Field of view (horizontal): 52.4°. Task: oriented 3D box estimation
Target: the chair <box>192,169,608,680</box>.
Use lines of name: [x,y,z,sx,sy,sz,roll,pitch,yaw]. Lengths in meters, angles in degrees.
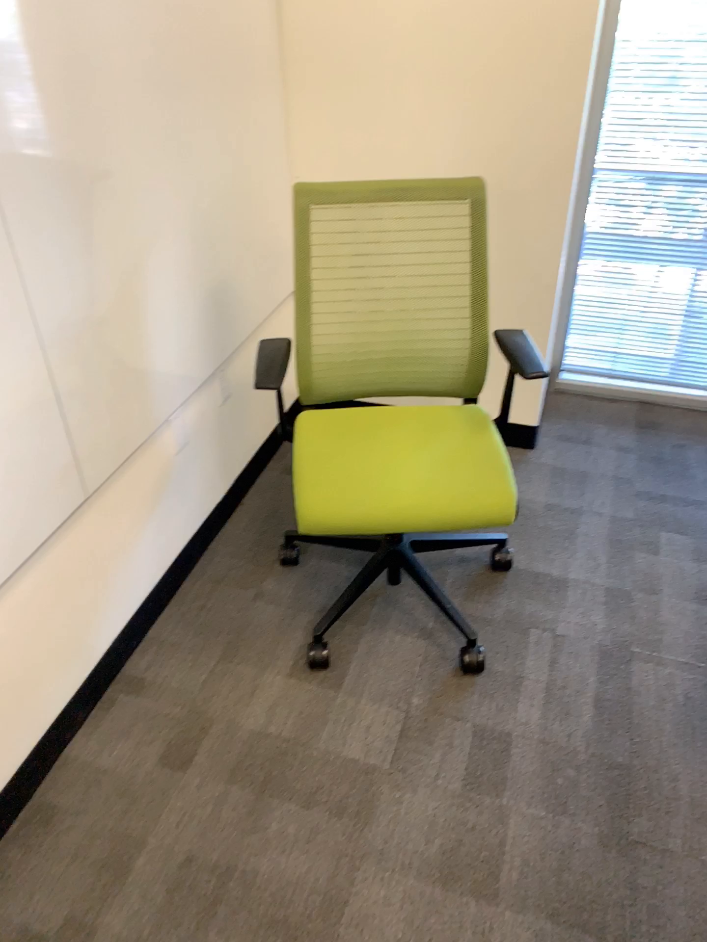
chair: [0.085,-0.135,1.843,0.700,0.994,0.845,-1,36,1]
